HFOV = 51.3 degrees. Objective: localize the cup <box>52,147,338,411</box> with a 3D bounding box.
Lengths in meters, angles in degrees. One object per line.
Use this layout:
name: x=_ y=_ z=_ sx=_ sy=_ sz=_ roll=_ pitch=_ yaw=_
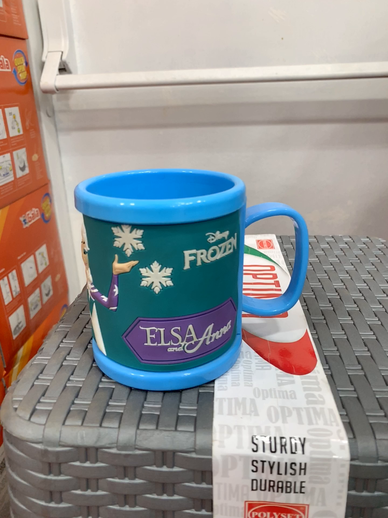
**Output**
cup: x=-0.002 y=0.001 z=0.207 sx=0.110 sy=0.099 sz=0.081 roll=-6 pitch=22 yaw=-9
